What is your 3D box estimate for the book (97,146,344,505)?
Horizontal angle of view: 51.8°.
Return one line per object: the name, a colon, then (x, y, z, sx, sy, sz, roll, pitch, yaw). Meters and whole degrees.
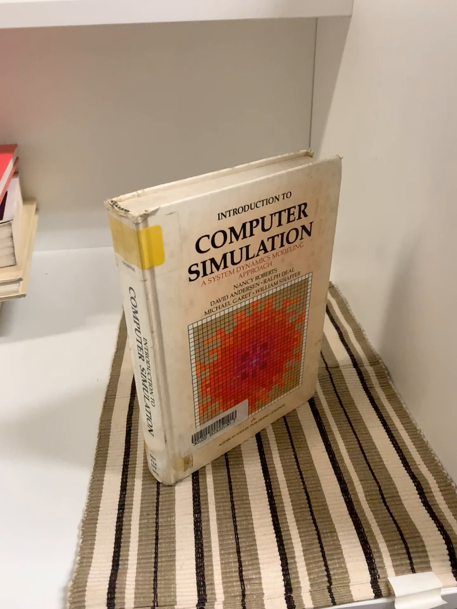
book: (0.005, 0.018, 0.364, 0.171, 0.238, 0.040, -24, 39, -32)
